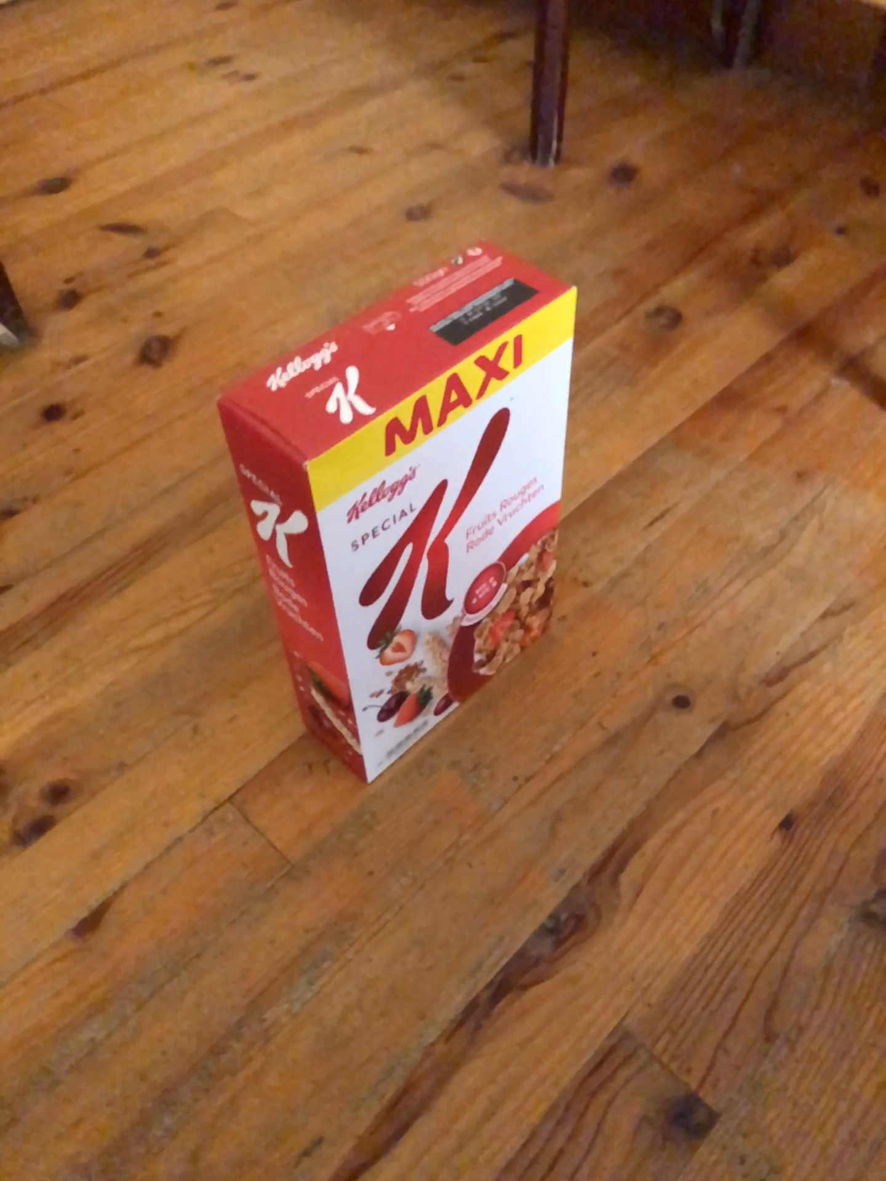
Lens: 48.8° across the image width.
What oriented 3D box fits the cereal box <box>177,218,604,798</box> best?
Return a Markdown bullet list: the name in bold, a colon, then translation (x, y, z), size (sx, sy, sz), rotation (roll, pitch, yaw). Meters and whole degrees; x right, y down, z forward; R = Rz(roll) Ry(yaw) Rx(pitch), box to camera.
- **cereal box**: translation (-0.016, -0.038, 0.601), size (0.090, 0.288, 0.211), rotation (37, 60, 28)
